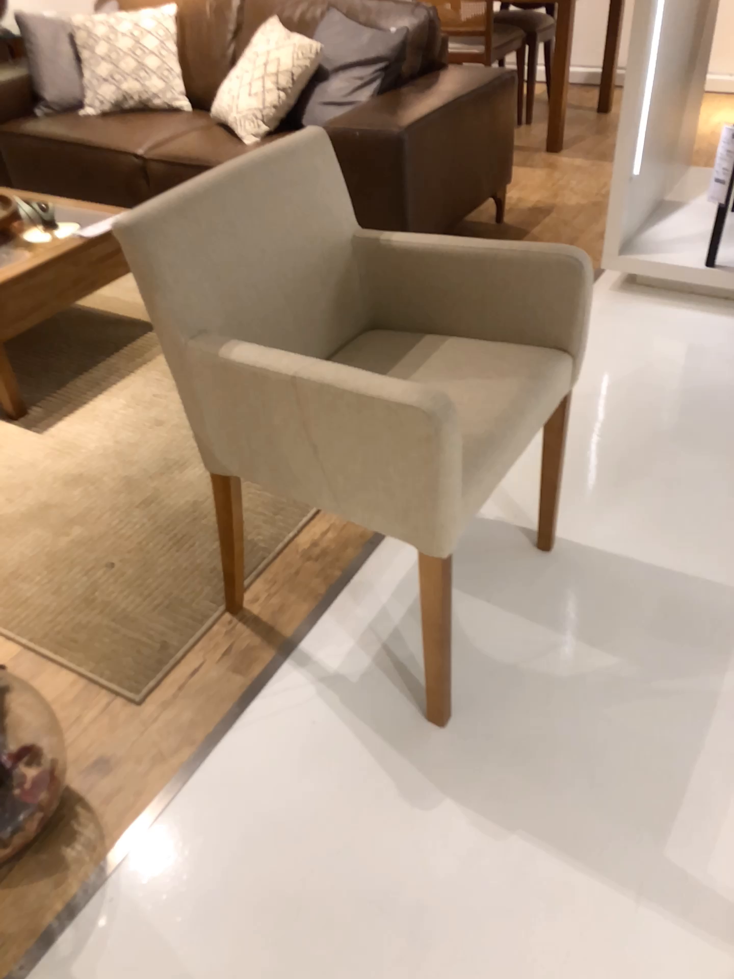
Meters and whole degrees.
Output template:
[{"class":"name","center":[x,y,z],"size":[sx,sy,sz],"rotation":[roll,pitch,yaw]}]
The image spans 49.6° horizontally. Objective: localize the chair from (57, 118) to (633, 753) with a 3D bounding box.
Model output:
[{"class":"chair","center":[0.014,-0.134,1.401],"size":[0.621,0.794,0.604],"rotation":[18,42,26]}]
